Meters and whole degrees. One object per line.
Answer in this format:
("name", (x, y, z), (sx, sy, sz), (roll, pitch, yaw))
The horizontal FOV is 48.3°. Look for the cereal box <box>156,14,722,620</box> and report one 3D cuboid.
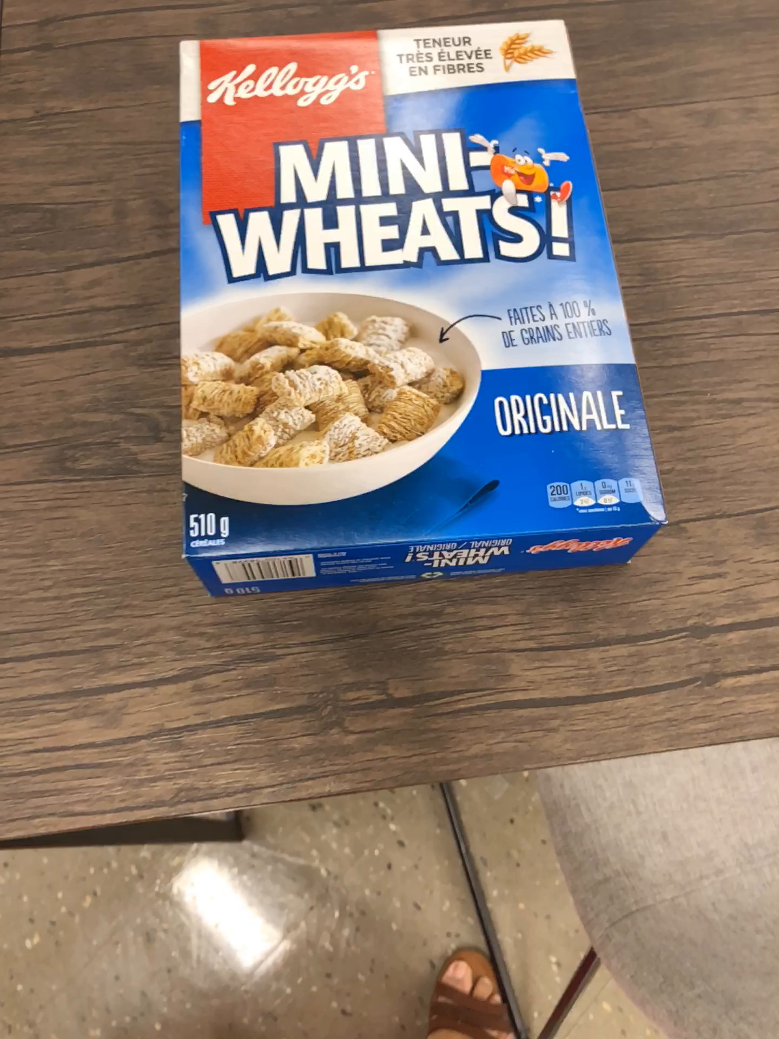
("cereal box", (0.007, -0.102, 0.397), (0.210, 0.060, 0.270), (-5, 69, -3))
